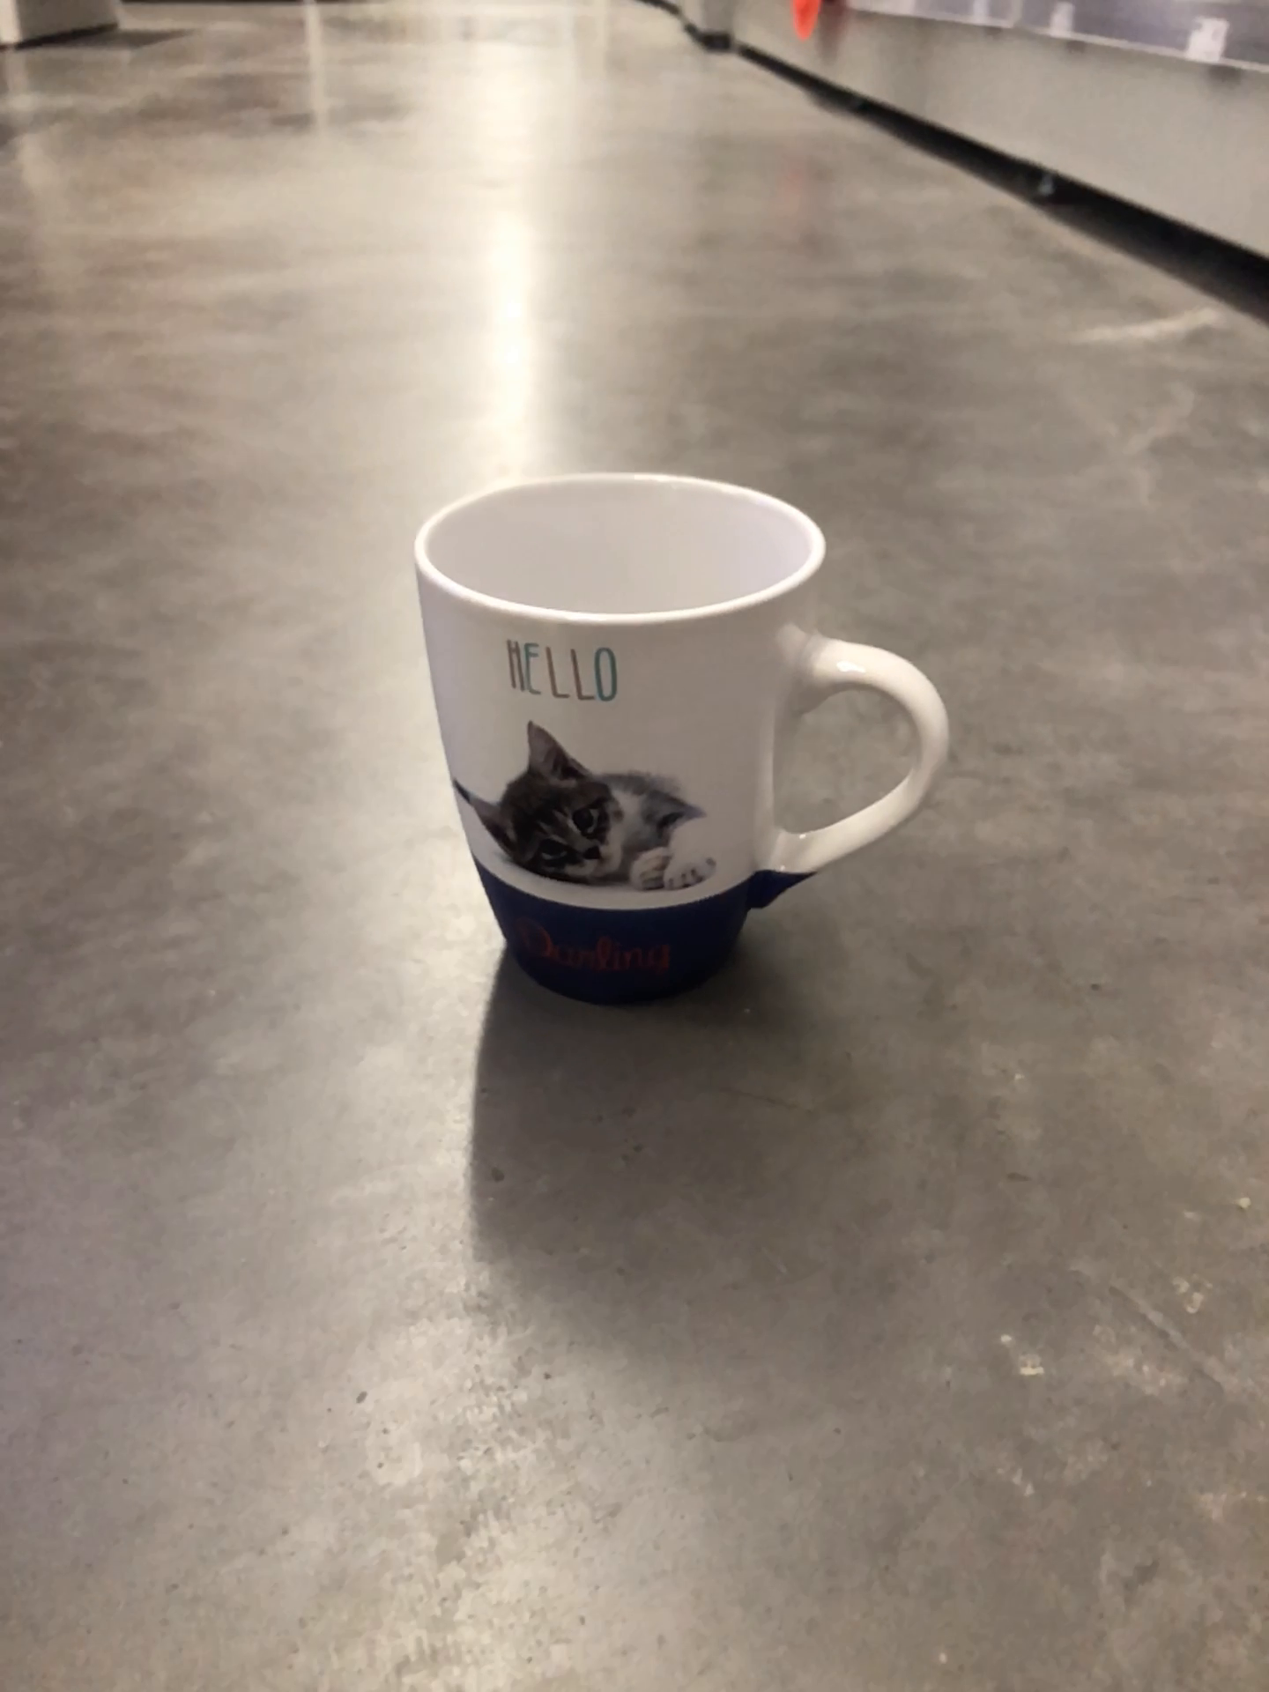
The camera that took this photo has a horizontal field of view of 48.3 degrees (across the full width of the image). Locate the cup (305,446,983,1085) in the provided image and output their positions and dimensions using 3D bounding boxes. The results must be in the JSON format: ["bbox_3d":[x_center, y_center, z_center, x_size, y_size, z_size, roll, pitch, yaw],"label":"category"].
[{"bbox_3d":[0.010,-0.027,0.343,0.127,0.098,0.112,9,33,13],"label":"cup"}]
